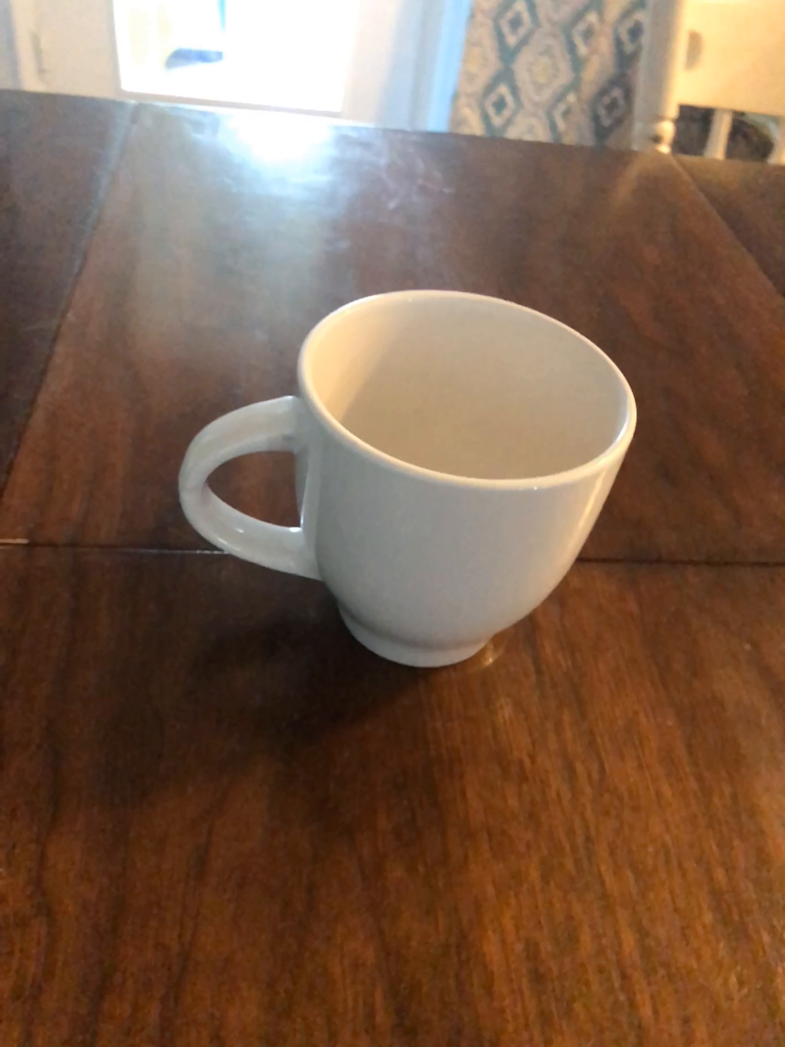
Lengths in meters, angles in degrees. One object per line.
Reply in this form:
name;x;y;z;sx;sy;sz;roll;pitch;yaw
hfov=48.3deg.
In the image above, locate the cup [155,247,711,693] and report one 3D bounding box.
cup;0.002;-0.020;0.304;0.150;0.100;0.110;-1;44;-10
